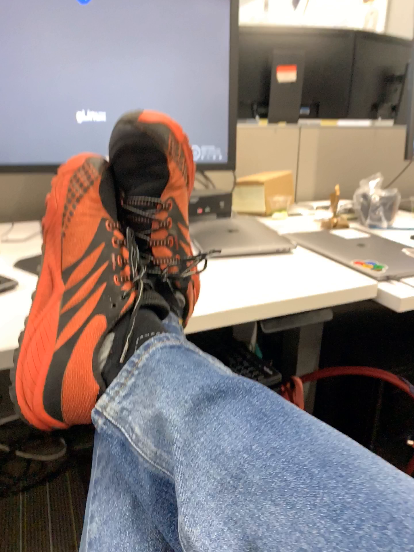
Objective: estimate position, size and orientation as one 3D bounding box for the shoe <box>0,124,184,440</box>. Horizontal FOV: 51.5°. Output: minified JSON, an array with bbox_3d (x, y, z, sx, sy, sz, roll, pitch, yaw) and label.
[{"bbox_3d":[-0.115,0.000,0.434,0.132,0.290,0.091,3,-15,11],"label":"shoe"}]

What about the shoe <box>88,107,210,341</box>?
[{"bbox_3d":[-0.061,-0.061,0.535,0.107,0.271,0.083,0,22,8],"label":"shoe"}]
